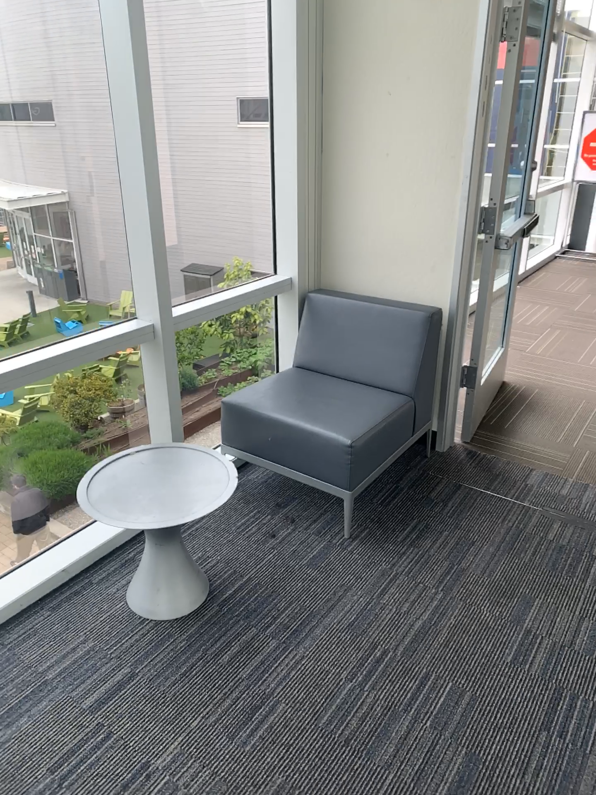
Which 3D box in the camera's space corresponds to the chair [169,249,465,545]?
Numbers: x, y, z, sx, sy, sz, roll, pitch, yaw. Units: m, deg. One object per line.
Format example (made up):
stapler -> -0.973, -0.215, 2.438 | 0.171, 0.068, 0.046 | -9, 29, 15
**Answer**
chair -> 0.119, -0.109, 3.035 | 1.002, 0.994, 1.003 | 16, 28, 32
